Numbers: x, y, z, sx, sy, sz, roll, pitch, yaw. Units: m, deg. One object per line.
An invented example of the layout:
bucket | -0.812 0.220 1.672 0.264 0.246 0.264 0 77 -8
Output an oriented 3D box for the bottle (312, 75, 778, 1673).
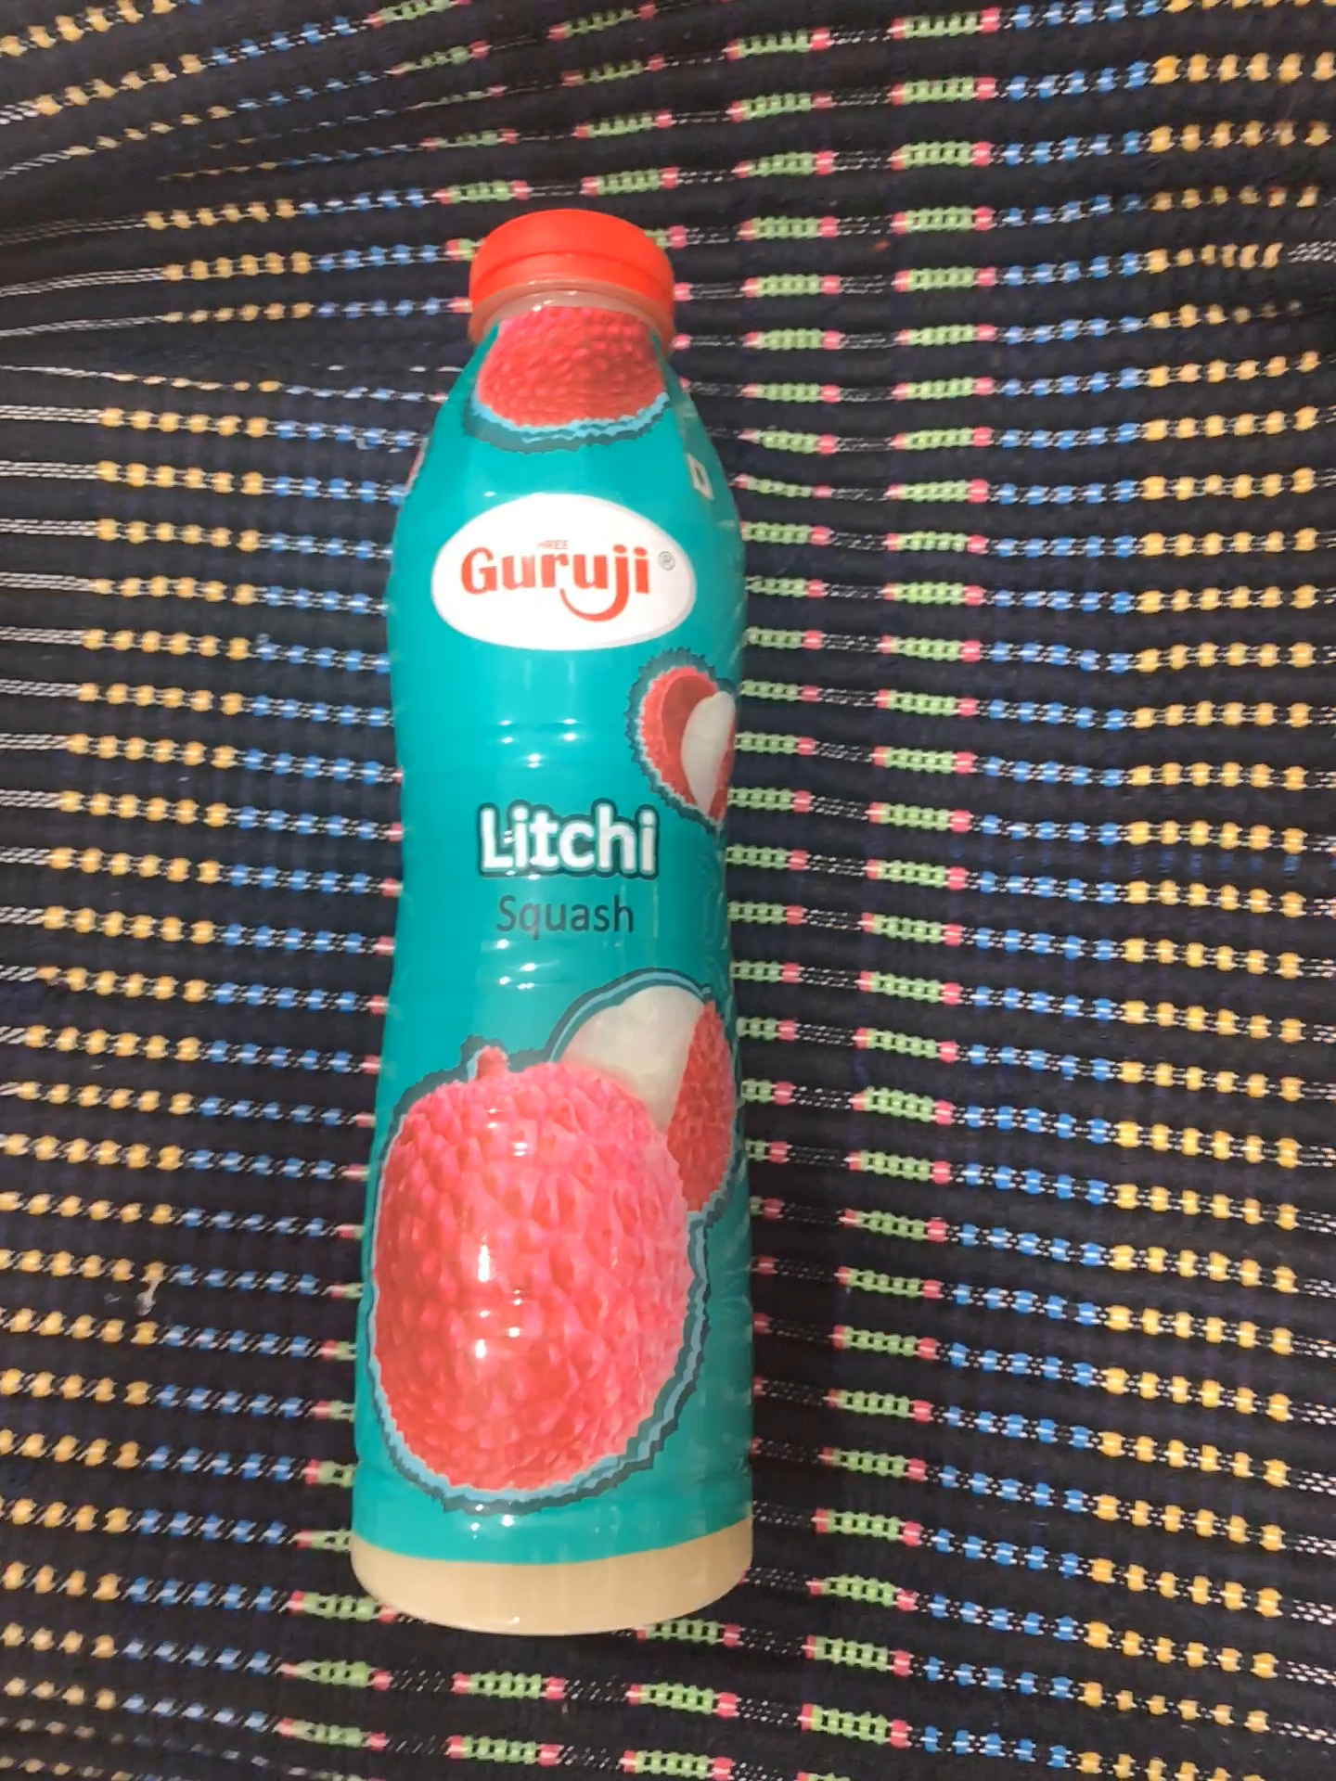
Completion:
bottle | -0.021 -0.011 0.277 0.070 0.080 0.280 0 78 -2
